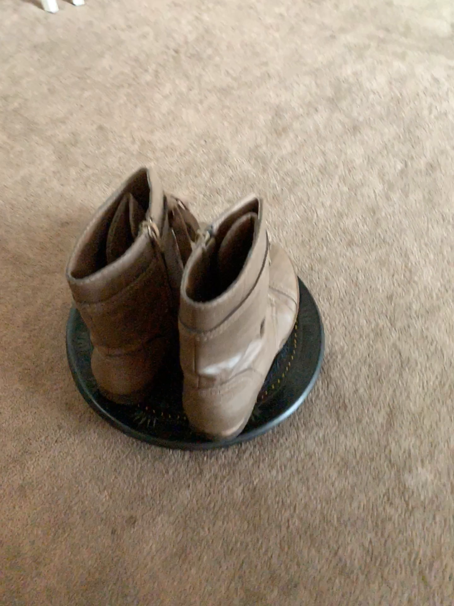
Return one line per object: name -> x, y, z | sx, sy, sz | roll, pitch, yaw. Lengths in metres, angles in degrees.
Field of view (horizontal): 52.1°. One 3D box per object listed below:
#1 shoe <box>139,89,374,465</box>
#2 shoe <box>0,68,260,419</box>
shoe -> 0.036, -0.025, 0.434 | 0.100, 0.198, 0.272 | 17, 56, 10
shoe -> -0.064, -0.058, 0.455 | 0.100, 0.198, 0.262 | 17, 56, 10
